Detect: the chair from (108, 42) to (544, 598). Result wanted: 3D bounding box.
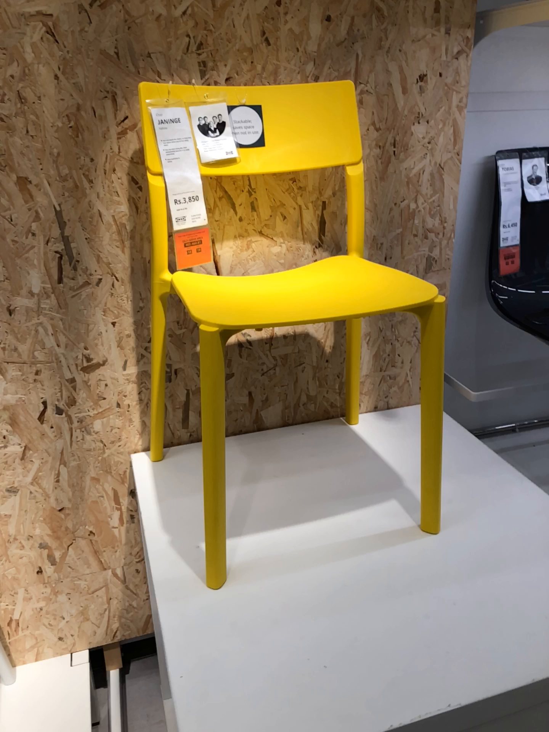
[{"bbox_3d":[0.030,-0.112,0.967,0.460,0.676,0.462,-9,24,-17],"label":"chair"}]
